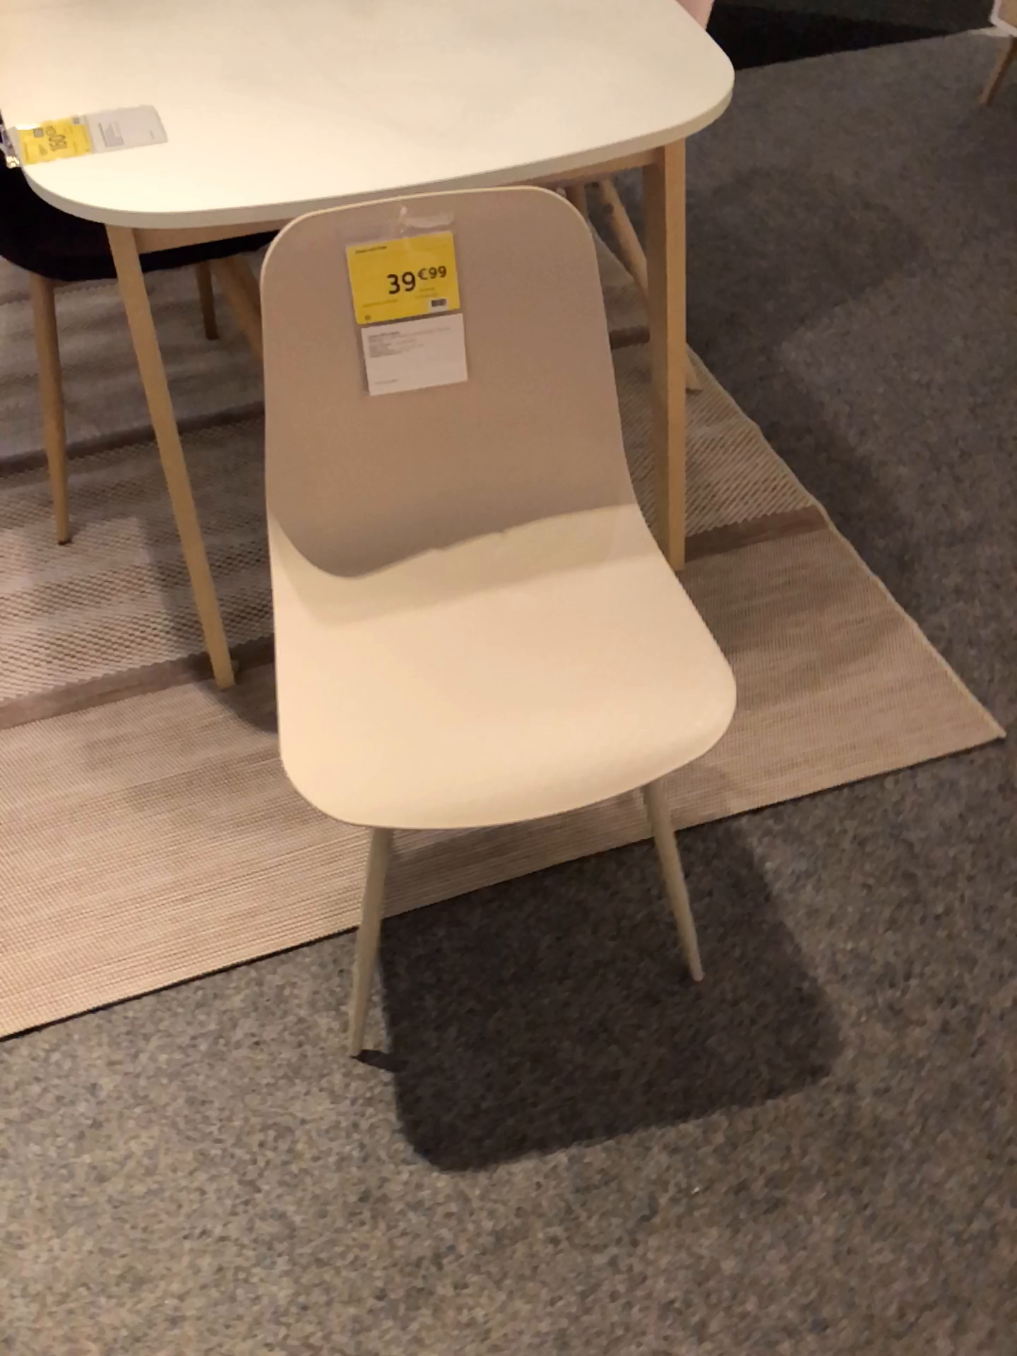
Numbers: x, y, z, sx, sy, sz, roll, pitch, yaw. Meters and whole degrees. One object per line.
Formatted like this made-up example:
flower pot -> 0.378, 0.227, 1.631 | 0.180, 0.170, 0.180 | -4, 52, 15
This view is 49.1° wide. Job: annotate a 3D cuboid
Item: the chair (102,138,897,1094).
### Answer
chair -> -0.042, -0.029, 1.150 | 0.500, 0.766, 0.502 | -13, 49, -10
